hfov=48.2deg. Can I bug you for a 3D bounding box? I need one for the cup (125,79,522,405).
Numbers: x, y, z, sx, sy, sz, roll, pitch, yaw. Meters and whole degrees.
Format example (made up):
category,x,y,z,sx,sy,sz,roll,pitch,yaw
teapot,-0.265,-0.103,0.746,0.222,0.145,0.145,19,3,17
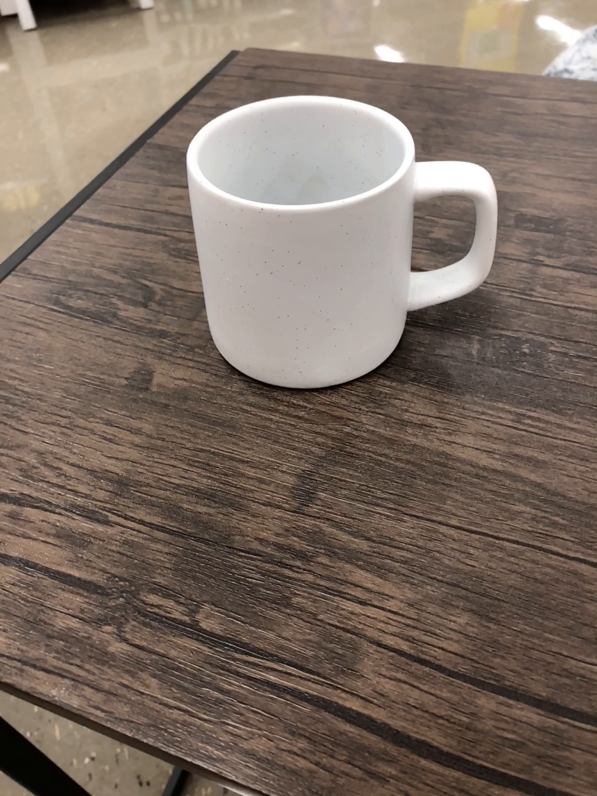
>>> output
category,x,y,z,sx,sy,sz,roll,pitch,yaw
cup,0.012,-0.065,0.286,0.130,0.100,0.090,1,47,5
